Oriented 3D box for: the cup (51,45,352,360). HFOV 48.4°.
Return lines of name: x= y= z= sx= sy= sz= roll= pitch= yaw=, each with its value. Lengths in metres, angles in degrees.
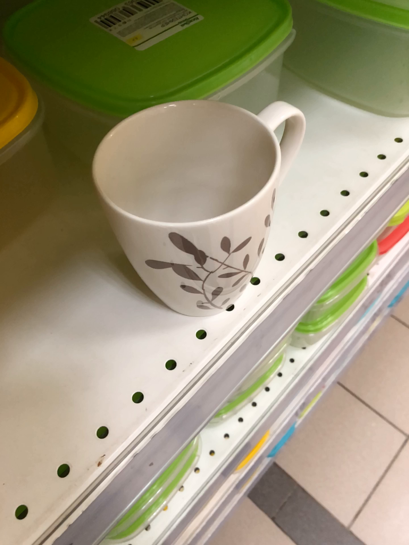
cup: x=0.003 y=-0.040 z=0.256 sx=0.086 sy=0.097 sz=0.121 roll=33 pitch=63 yaw=21
